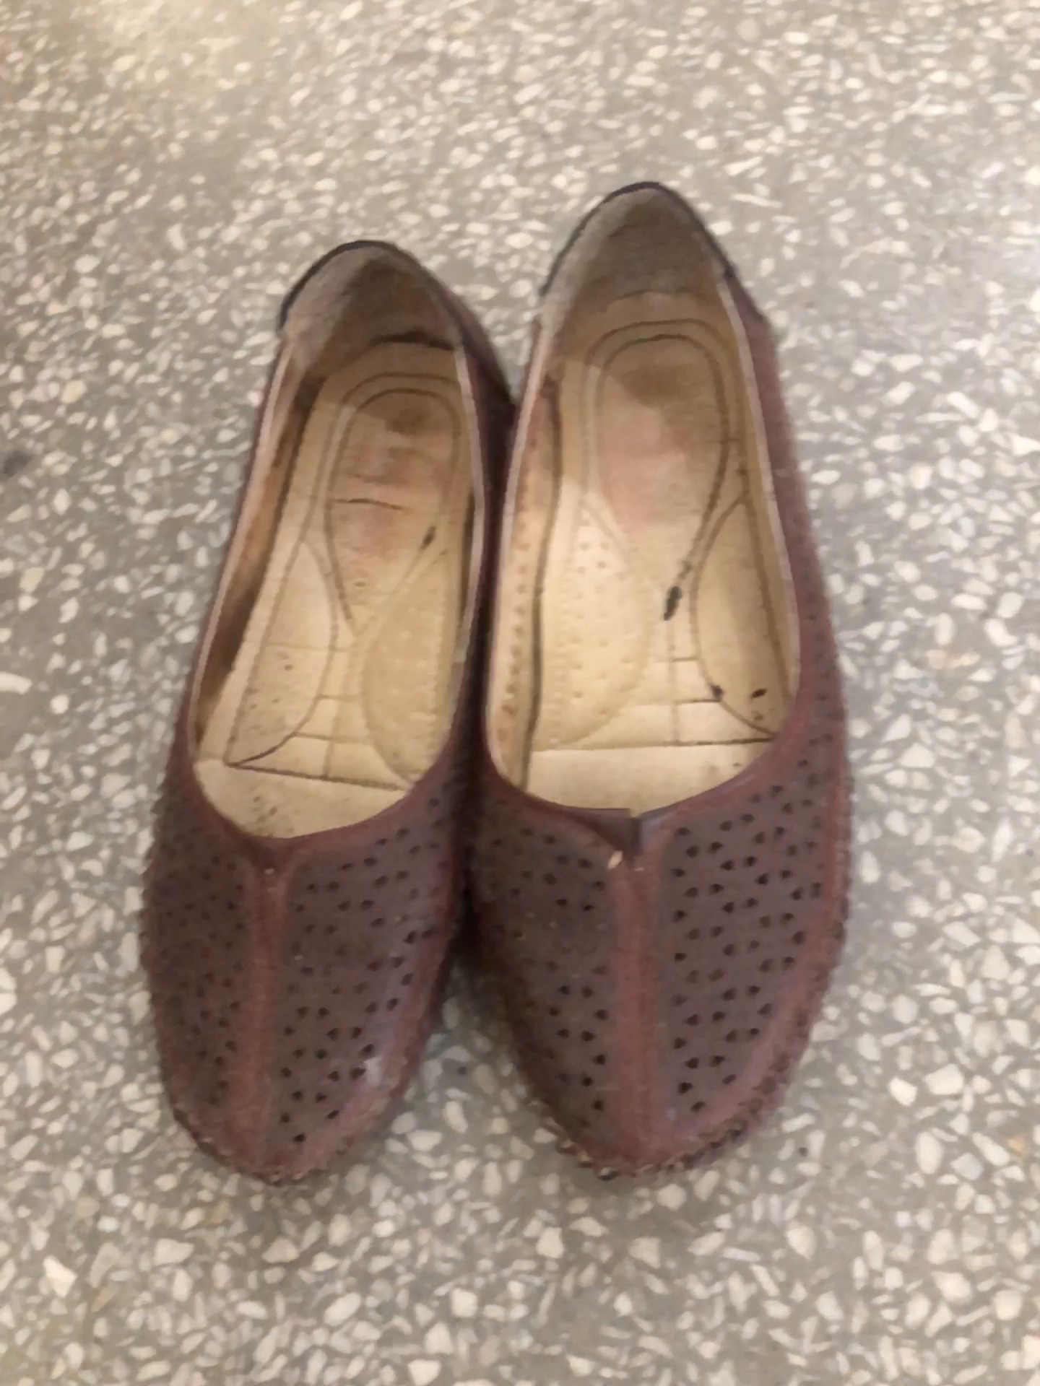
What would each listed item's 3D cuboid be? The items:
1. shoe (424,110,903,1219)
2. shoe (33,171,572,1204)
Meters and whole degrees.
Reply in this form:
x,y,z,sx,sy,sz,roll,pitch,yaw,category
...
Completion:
x,y,z,sx,sy,sz,roll,pitch,yaw,category
0.035,-0.013,0.285,0.090,0.060,0.250,-2,72,11,shoe
-0.045,-0.009,0.306,0.090,0.060,0.250,2,73,12,shoe
